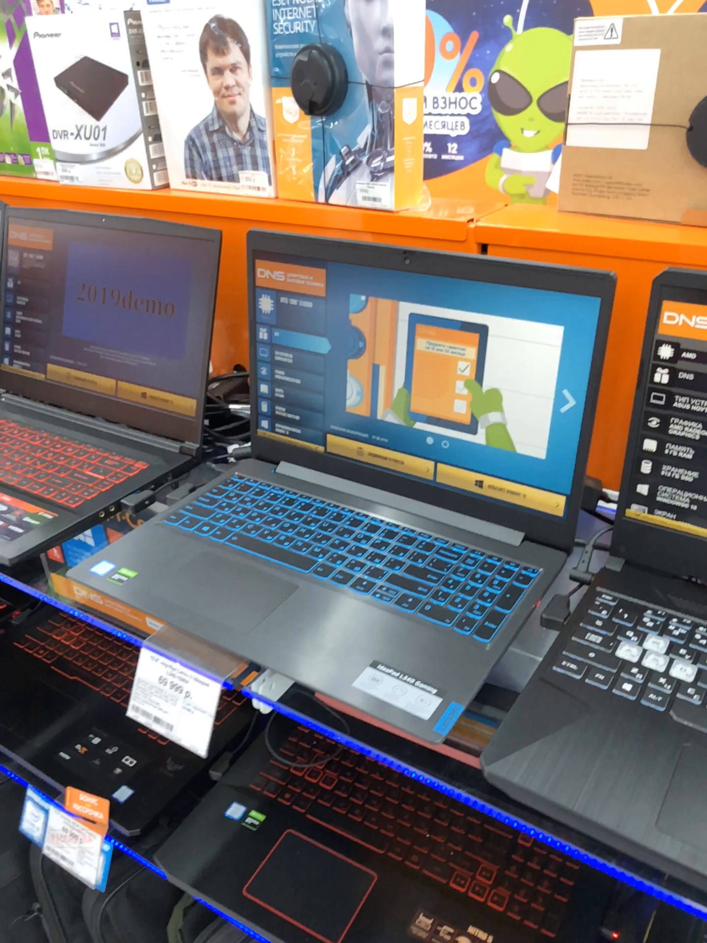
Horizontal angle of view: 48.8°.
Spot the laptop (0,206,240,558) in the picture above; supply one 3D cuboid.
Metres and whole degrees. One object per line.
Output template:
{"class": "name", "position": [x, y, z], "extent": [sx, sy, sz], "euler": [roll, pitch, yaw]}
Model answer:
{"class": "laptop", "position": [-0.373, -0.130, 0.838], "extent": [0.356, 0.224, 0.320], "euler": [15, 32, 28]}

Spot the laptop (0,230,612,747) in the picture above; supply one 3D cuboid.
{"class": "laptop", "position": [-0.026, -0.032, 0.624], "extent": [0.357, 0.235, 0.279], "euler": [16, 32, 29]}

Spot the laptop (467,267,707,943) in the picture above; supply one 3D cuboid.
{"class": "laptop", "position": [0.298, 0.059, 0.425], "extent": [0.368, 0.244, 0.274], "euler": [16, 33, 31]}
